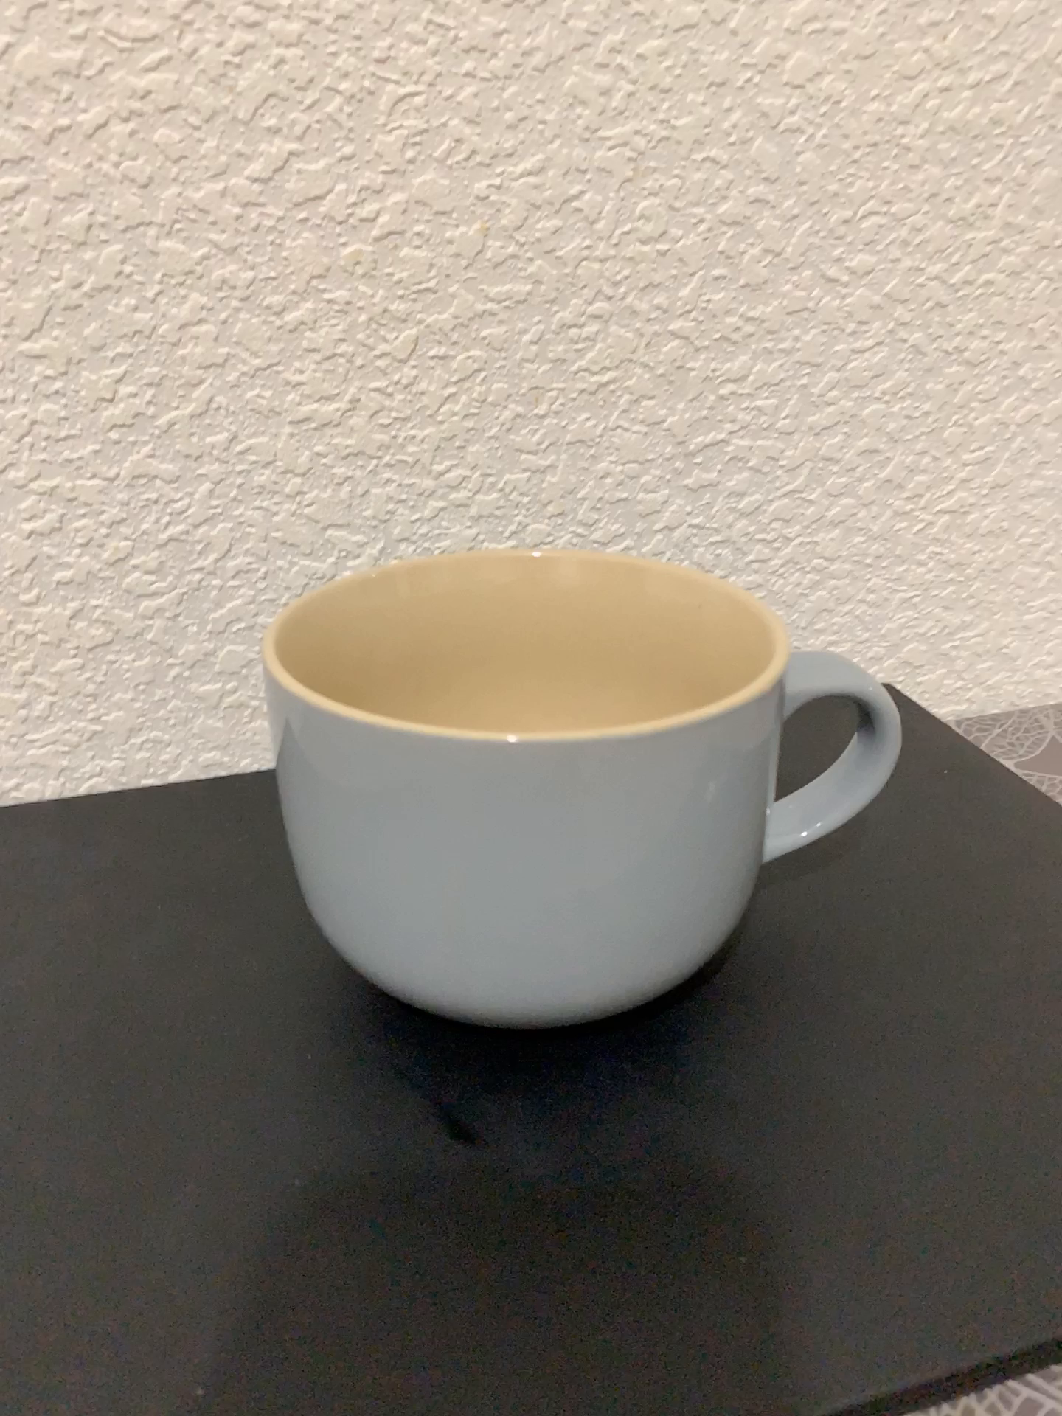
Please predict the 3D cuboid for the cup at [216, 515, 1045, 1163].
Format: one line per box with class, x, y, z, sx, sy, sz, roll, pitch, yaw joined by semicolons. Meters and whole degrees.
cup;0.010;0.015;0.236;0.133;0.079;0.111;-5;25;-9
